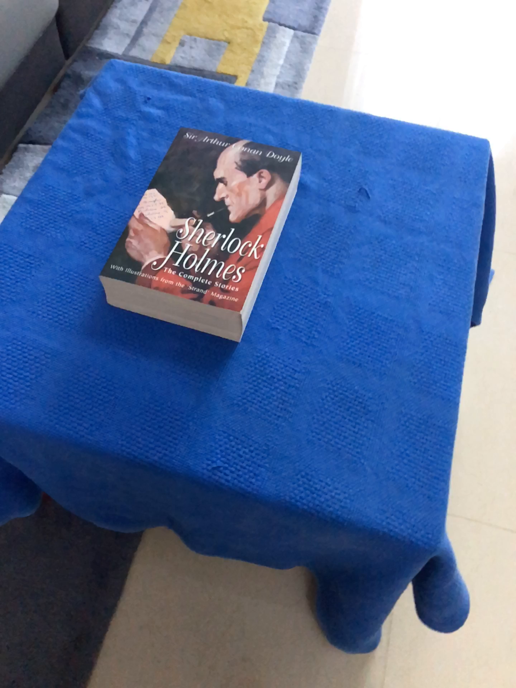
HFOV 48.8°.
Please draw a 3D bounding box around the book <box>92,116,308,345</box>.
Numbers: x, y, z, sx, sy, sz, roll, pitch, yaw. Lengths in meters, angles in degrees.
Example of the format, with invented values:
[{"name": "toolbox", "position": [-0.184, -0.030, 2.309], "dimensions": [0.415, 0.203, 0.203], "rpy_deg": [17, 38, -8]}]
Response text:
[{"name": "book", "position": [-0.054, -0.137, 0.647], "dimensions": [0.160, 0.070, 0.241], "rpy_deg": [16, 61, 8]}]
